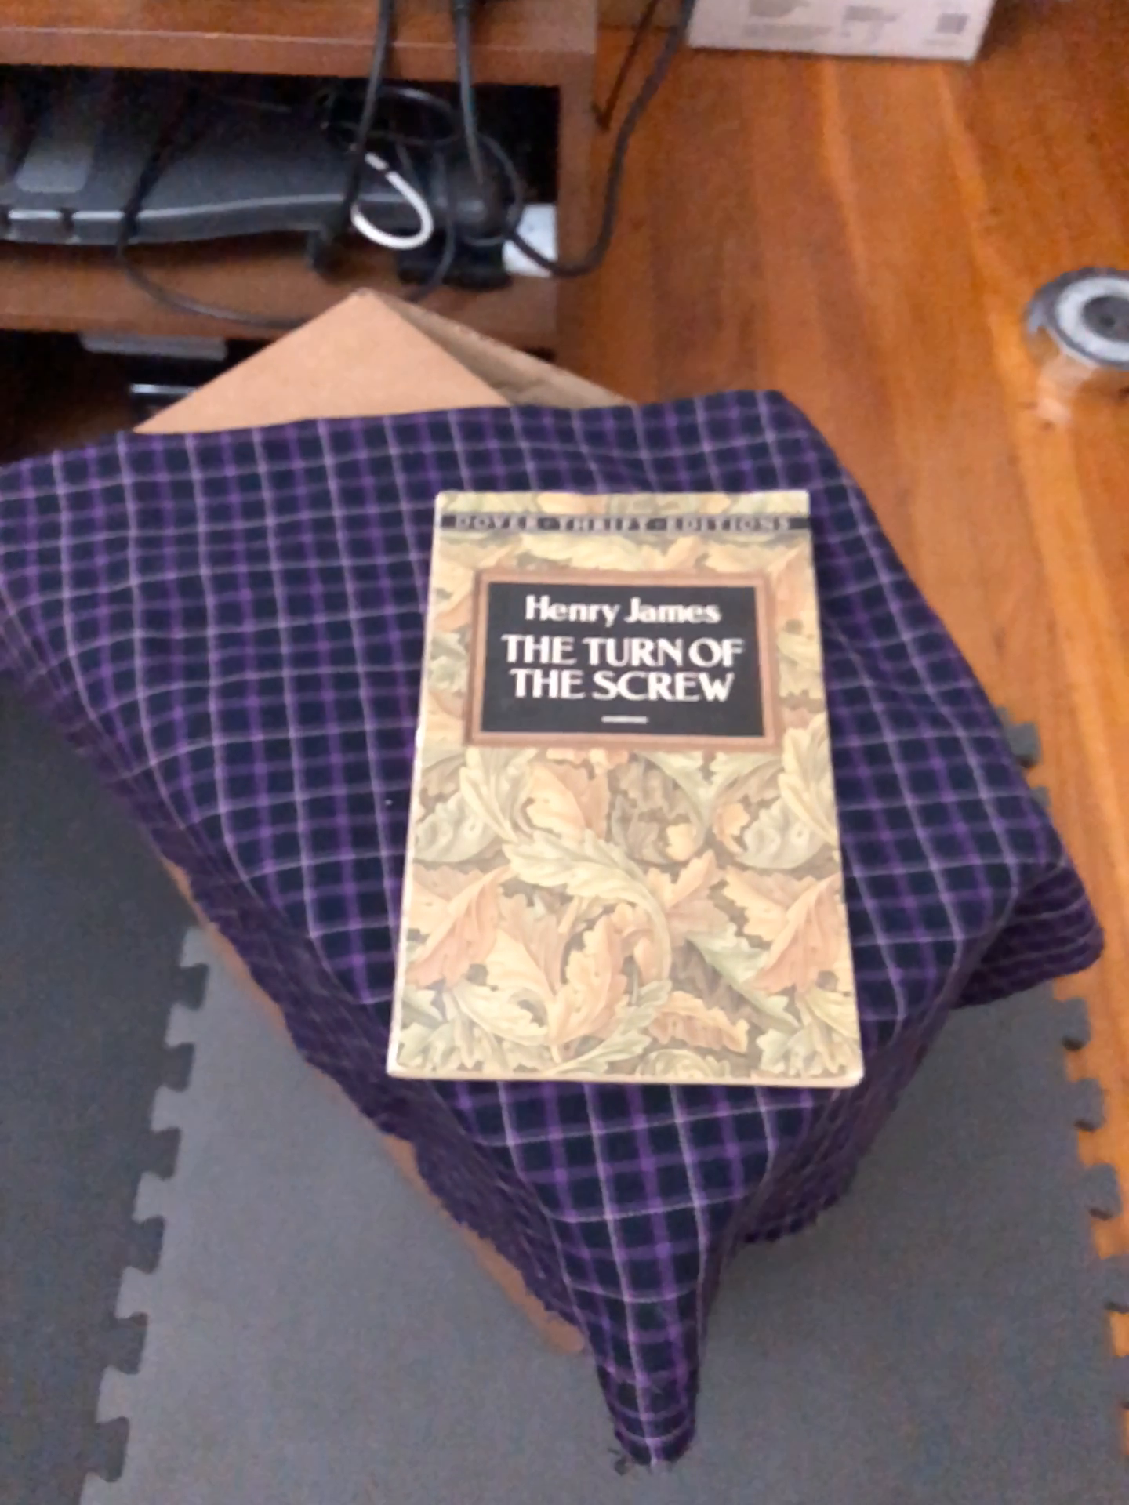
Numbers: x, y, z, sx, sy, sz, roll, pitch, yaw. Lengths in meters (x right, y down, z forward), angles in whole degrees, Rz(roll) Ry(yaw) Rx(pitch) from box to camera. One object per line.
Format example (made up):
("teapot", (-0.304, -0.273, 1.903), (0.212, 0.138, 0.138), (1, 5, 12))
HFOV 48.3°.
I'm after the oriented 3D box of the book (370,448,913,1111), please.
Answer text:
("book", (0.021, -0.004, 0.383), (0.140, 0.010, 0.221), (1, 61, -1))
